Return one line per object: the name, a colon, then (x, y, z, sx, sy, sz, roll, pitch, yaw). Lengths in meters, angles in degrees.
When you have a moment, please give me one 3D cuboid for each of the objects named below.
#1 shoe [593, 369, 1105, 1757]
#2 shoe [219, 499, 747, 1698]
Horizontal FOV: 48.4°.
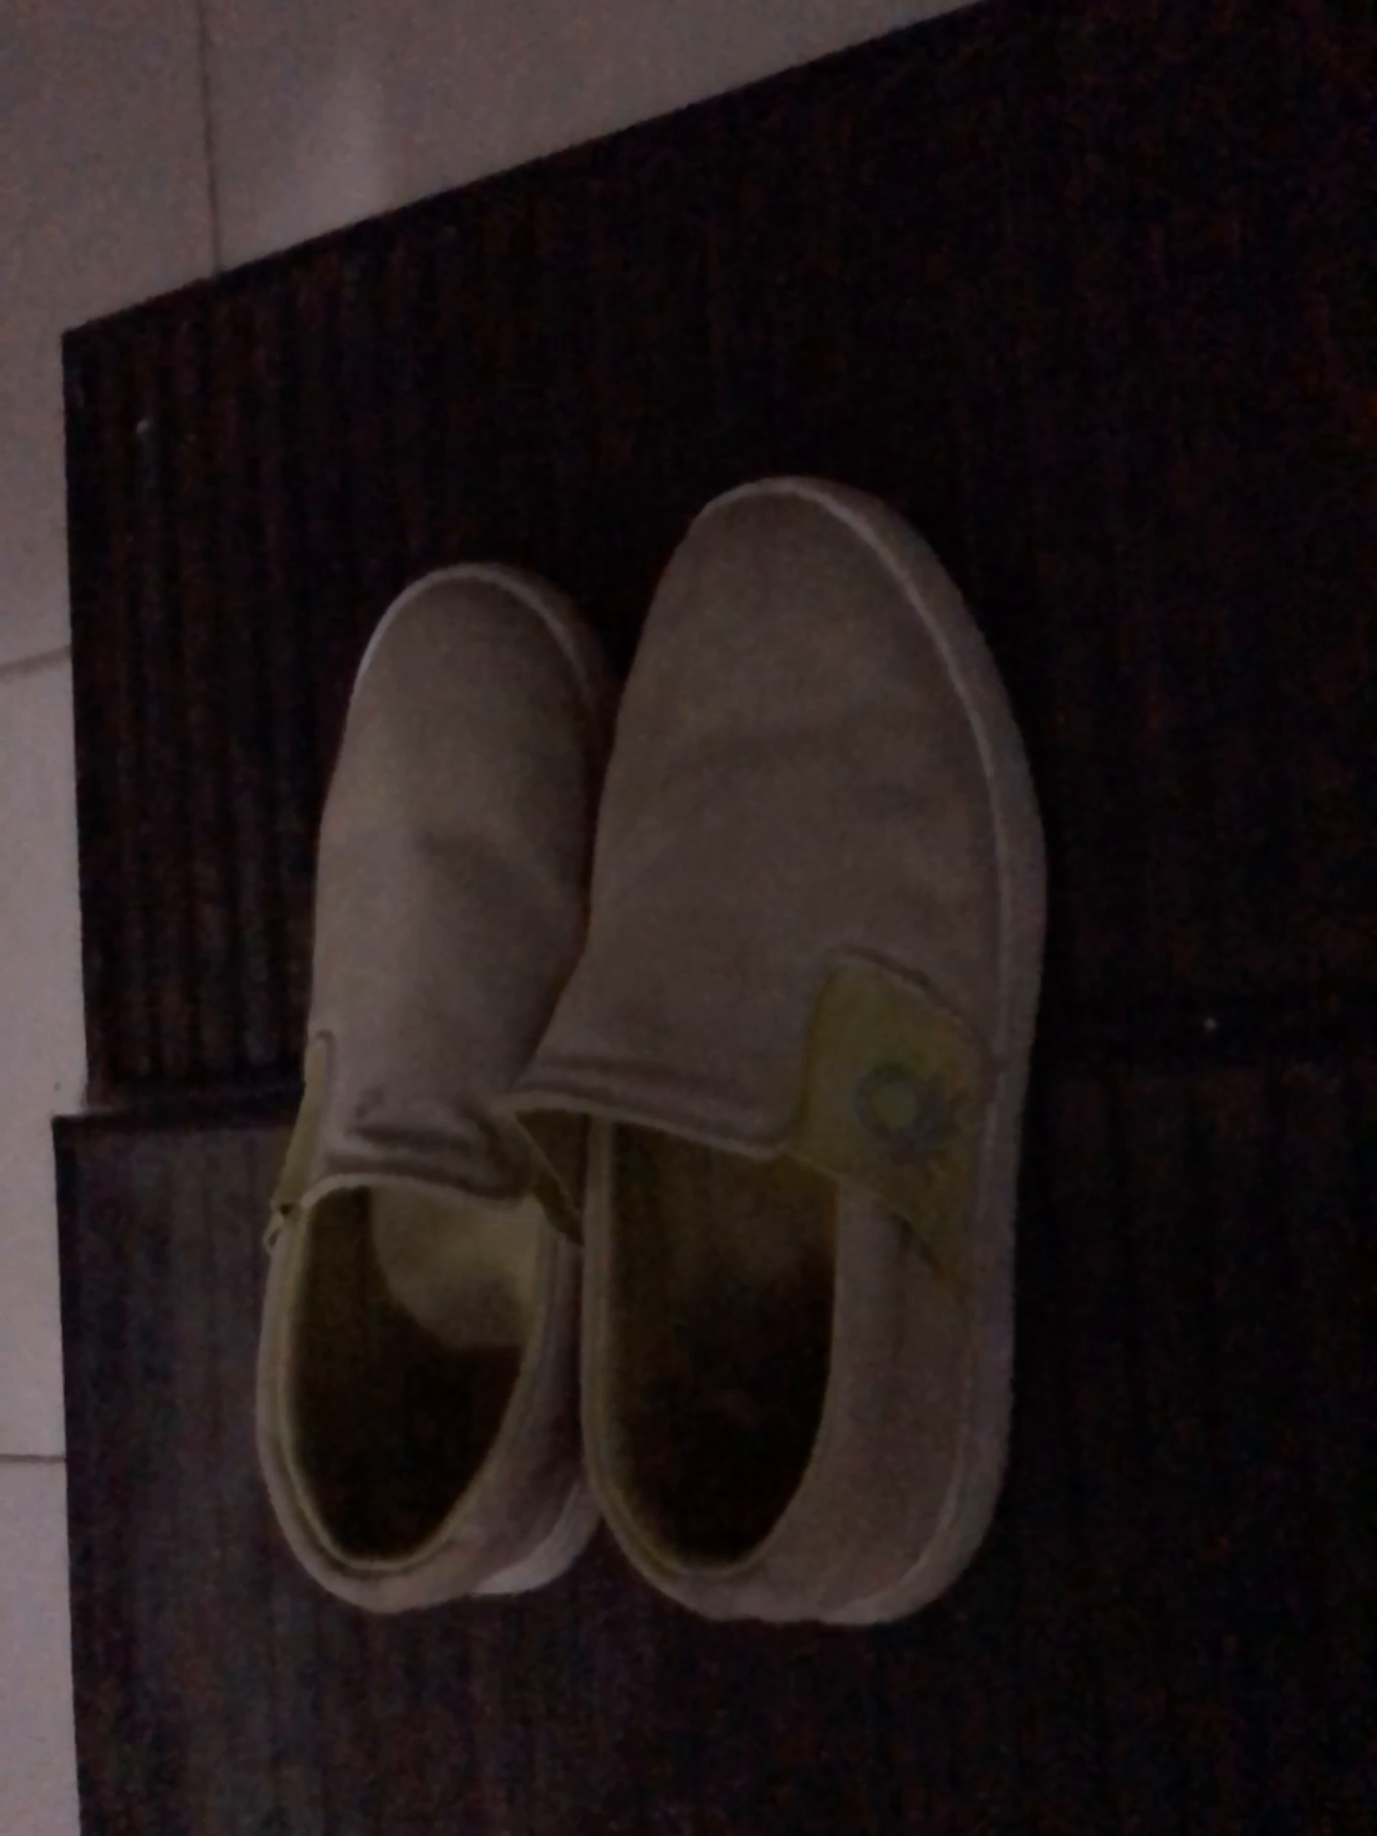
shoe: (0.045, 0.034, 0.430, 0.110, 0.090, 0.330, -4, 84, 25)
shoe: (-0.059, 0.047, 0.452, 0.120, 0.090, 0.300, -4, 84, 25)
